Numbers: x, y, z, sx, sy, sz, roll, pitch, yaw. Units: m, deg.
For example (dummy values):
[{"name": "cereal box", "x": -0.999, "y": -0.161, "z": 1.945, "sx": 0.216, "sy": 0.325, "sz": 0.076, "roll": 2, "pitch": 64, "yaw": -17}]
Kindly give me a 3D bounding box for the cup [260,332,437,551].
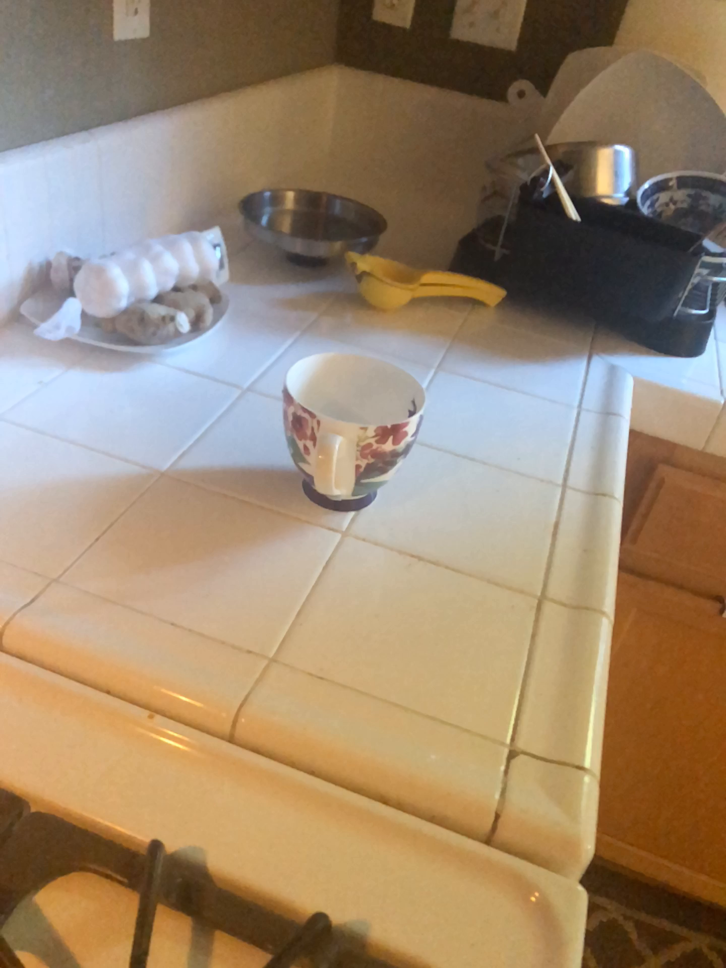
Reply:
[{"name": "cup", "x": -0.008, "y": -0.037, "z": 0.604, "sx": 0.110, "sy": 0.079, "sz": 0.151, "roll": 9, "pitch": 36, "yaw": -3}]
